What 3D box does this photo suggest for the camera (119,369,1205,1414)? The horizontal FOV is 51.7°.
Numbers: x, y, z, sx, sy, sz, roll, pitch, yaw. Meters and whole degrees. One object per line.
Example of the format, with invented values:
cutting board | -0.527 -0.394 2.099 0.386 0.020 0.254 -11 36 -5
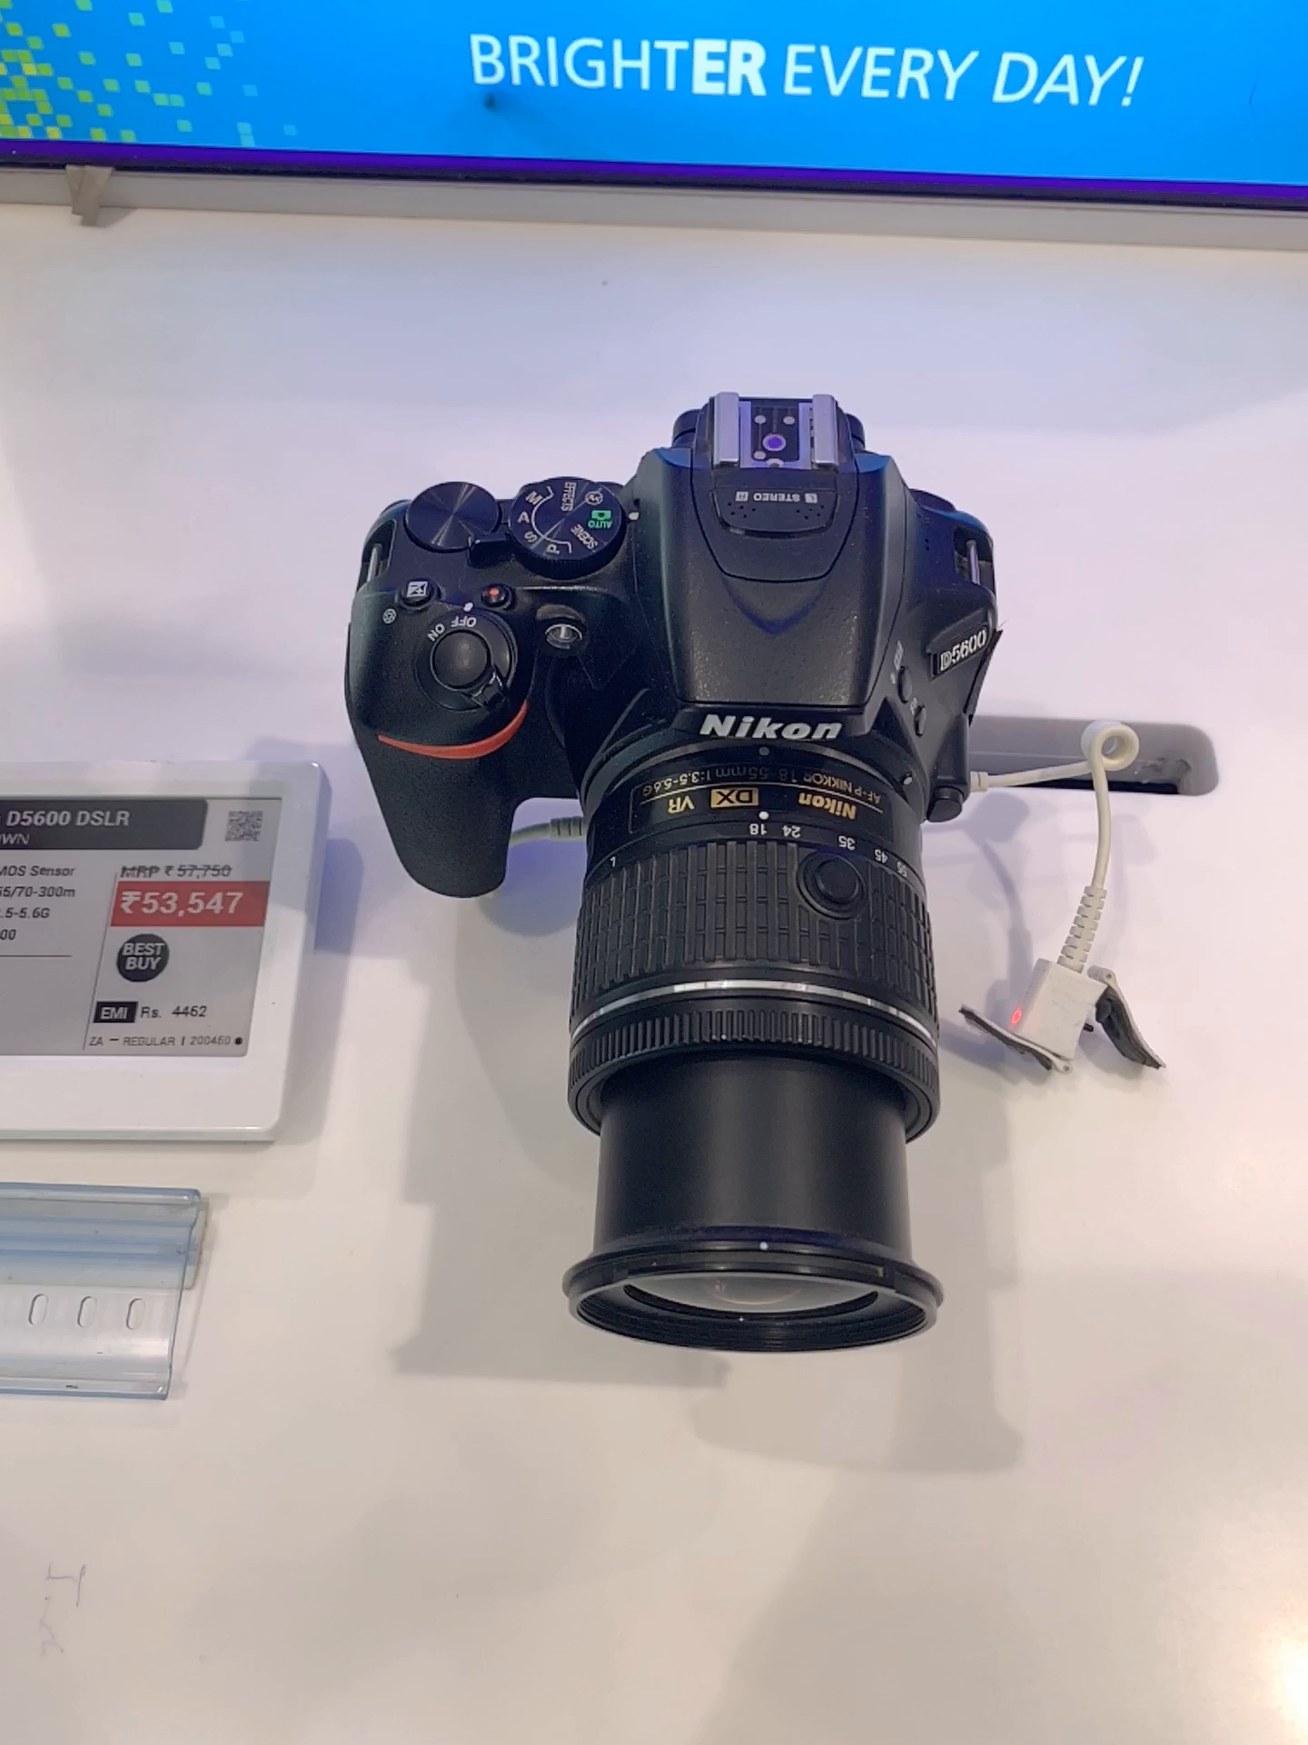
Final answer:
camera | 0.002 0.006 0.224 0.116 0.100 0.141 0 59 1
